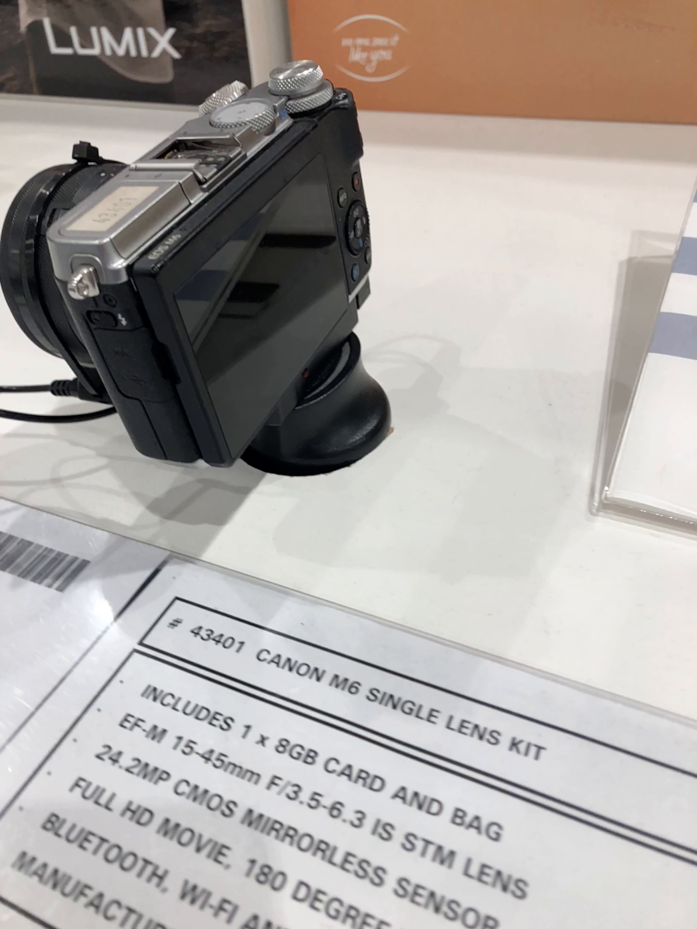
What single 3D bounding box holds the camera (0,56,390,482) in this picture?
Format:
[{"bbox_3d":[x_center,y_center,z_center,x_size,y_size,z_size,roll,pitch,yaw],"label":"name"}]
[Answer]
[{"bbox_3d":[-0.049,-0.064,0.232,0.083,0.075,0.103,11,45,24],"label":"camera"}]
